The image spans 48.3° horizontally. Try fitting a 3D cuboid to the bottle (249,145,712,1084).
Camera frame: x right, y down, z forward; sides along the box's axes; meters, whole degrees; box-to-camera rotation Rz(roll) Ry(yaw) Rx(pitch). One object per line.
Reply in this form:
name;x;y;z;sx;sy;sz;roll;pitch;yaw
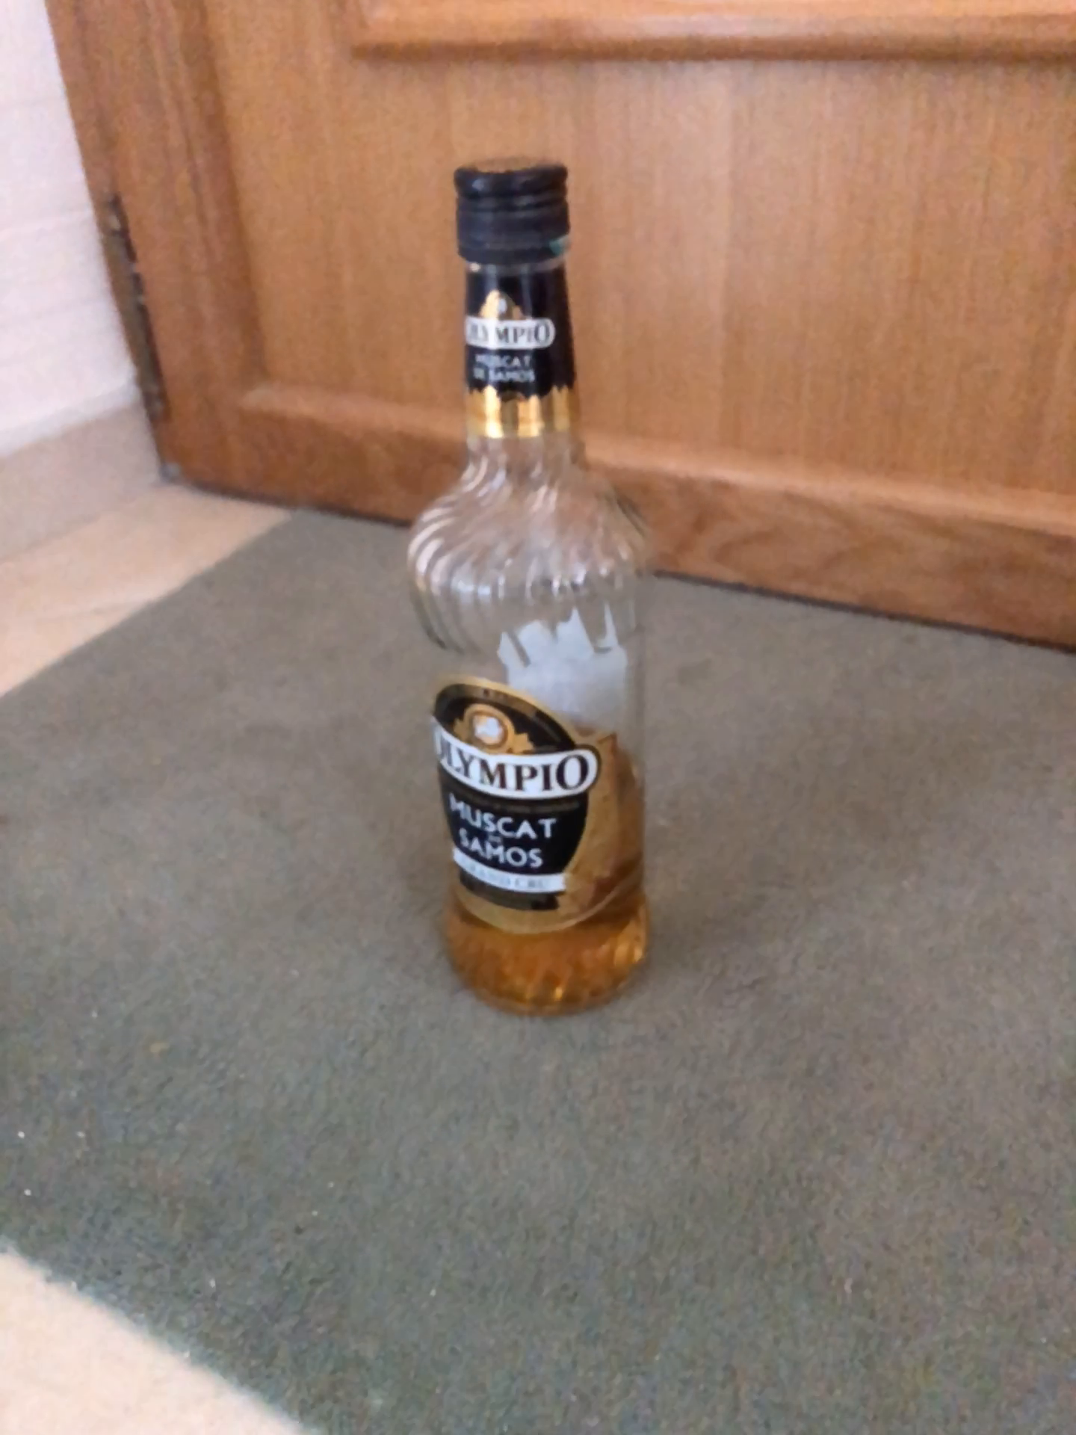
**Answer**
bottle;-0.007;-0.024;0.400;0.090;0.288;0.091;-2;33;1
